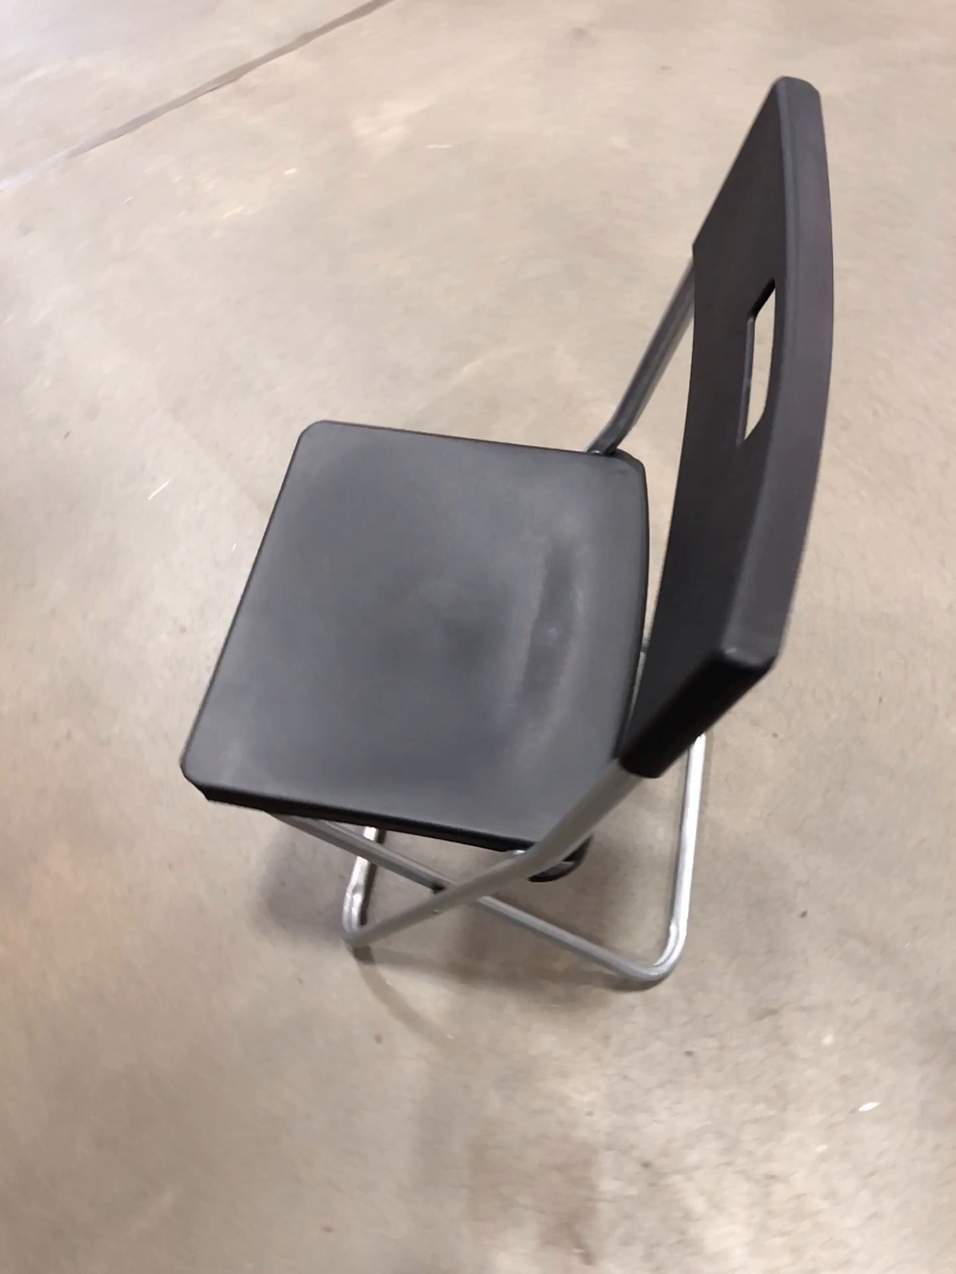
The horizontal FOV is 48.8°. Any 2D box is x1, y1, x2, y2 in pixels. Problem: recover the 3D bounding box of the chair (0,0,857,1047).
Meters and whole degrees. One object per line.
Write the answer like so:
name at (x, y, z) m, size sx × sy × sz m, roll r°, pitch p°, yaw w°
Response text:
chair at (0.000, -0.007, 0.870) m, size 0.460 × 0.759 × 0.461 m, roll 6°, pitch 61°, yaw 12°
